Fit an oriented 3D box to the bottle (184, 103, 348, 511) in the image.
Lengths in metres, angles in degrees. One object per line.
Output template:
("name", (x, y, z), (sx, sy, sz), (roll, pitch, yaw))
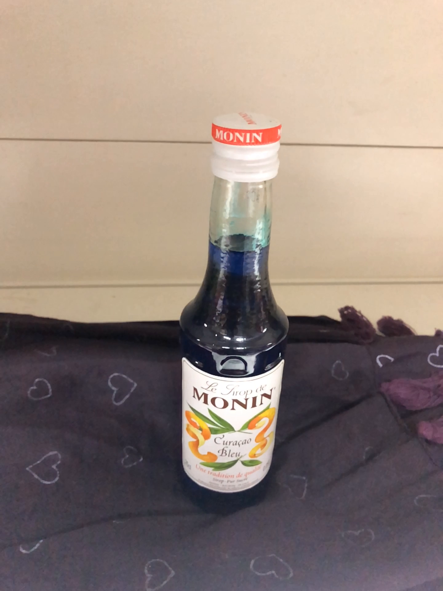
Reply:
("bottle", (0.012, 0.017, 0.254), (0.060, 0.209, 0.050), (0, 28, -4))
